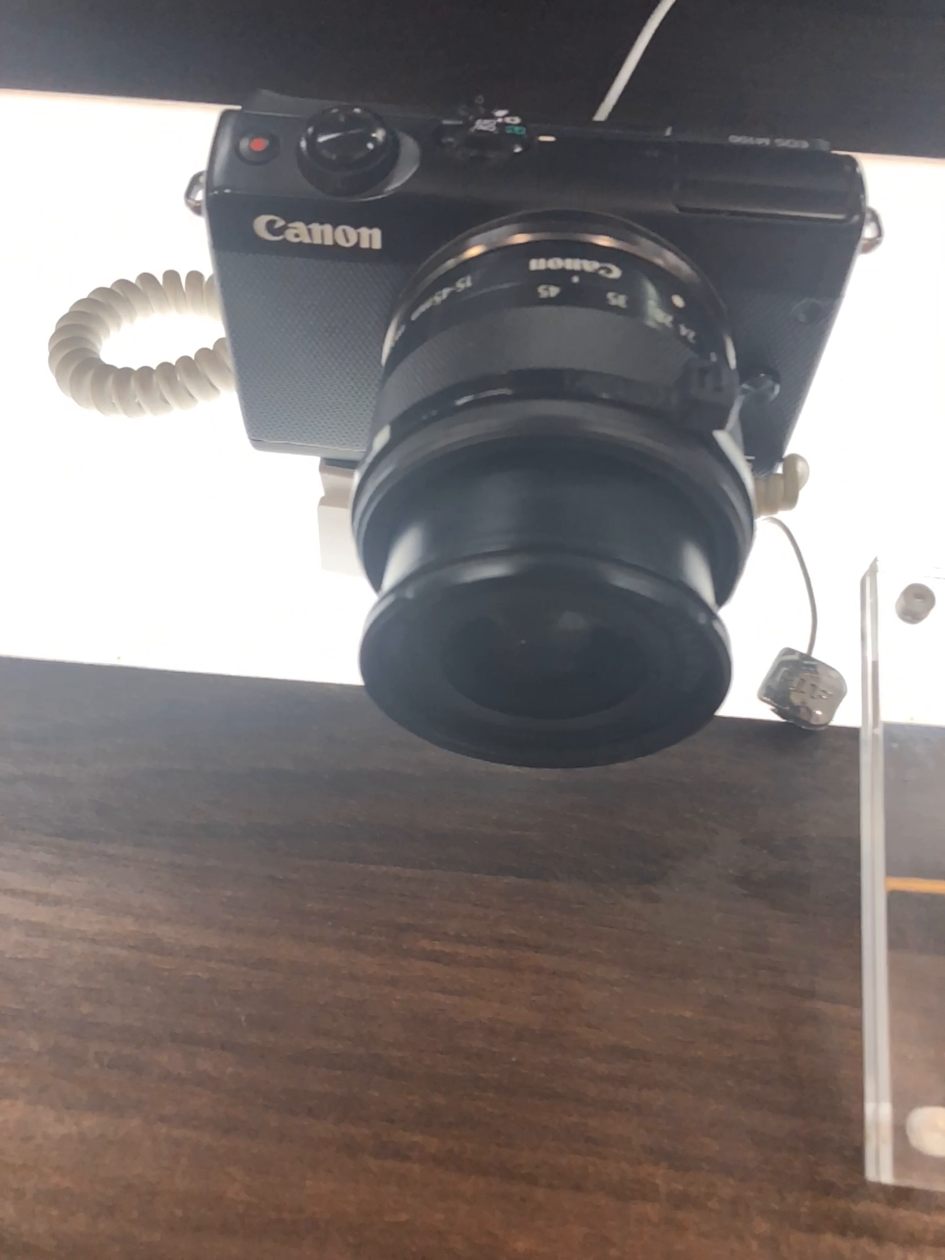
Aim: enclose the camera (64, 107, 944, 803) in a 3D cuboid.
[{"bbox_3d":[0.007,-0.033,0.189,0.112,0.071,0.094,5,50,2],"label":"camera"}]
